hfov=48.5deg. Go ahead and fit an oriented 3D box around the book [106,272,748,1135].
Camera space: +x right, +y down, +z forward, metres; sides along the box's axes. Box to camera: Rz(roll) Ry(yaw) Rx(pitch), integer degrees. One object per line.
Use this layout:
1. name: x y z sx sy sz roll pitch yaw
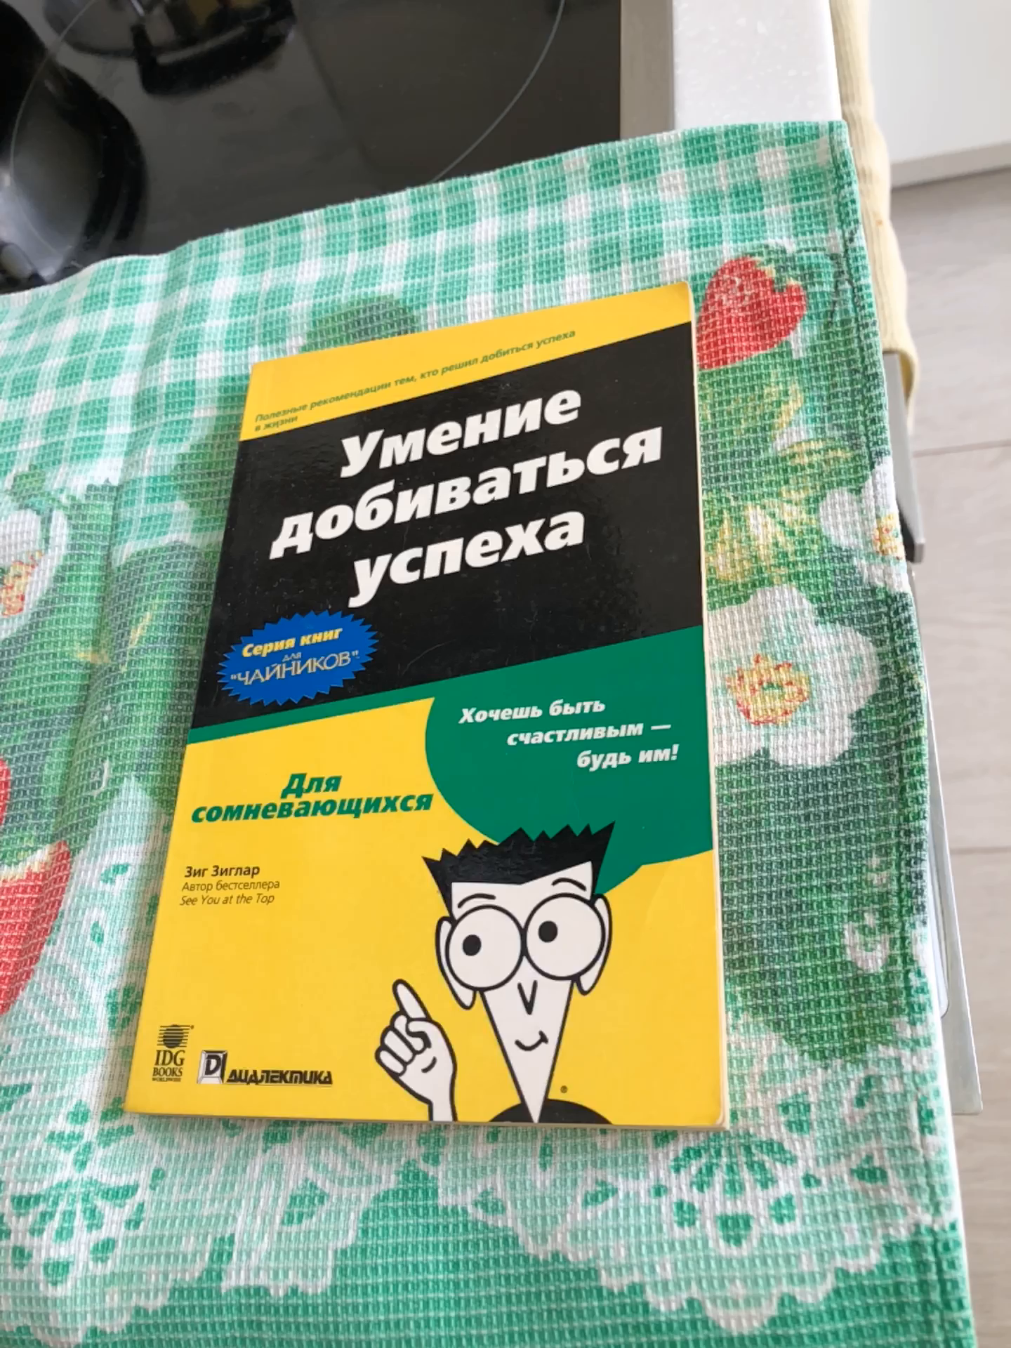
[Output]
1. book: -0.013 0.000 0.231 0.113 0.017 0.172 -6 63 18
